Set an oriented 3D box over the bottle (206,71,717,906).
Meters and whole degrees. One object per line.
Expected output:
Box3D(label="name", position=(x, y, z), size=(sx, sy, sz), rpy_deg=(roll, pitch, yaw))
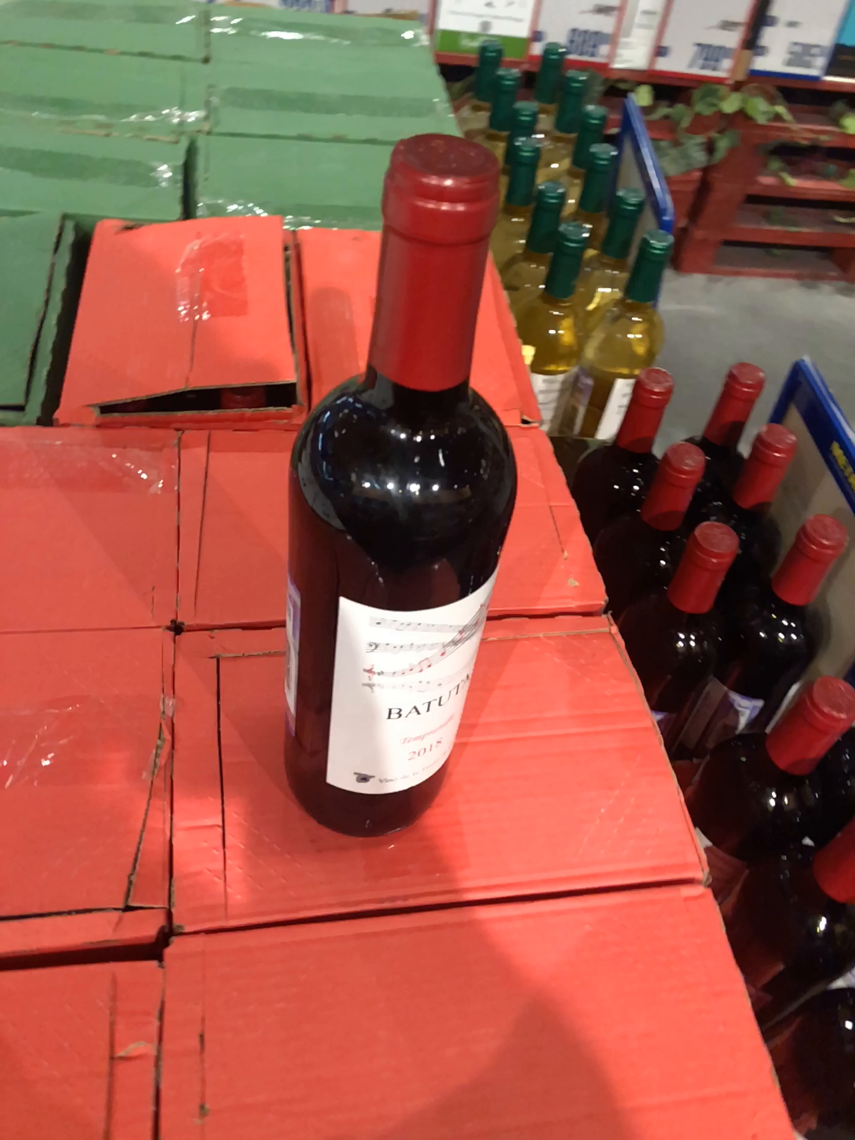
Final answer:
Box3D(label="bottle", position=(-0.010, 0.001, 0.325), size=(0.090, 0.287, 0.080), rpy_deg=(-28, 59, -30))
